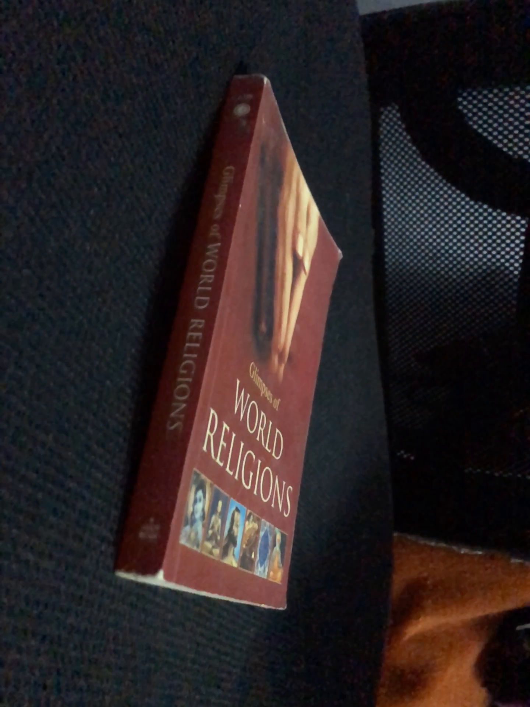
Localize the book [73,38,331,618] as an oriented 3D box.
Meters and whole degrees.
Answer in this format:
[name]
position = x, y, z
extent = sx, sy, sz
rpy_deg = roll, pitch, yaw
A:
[book]
position = -0.005, -0.001, 0.250
extent = 0.141, 0.020, 0.200
rpy_deg = 58, 37, -59
